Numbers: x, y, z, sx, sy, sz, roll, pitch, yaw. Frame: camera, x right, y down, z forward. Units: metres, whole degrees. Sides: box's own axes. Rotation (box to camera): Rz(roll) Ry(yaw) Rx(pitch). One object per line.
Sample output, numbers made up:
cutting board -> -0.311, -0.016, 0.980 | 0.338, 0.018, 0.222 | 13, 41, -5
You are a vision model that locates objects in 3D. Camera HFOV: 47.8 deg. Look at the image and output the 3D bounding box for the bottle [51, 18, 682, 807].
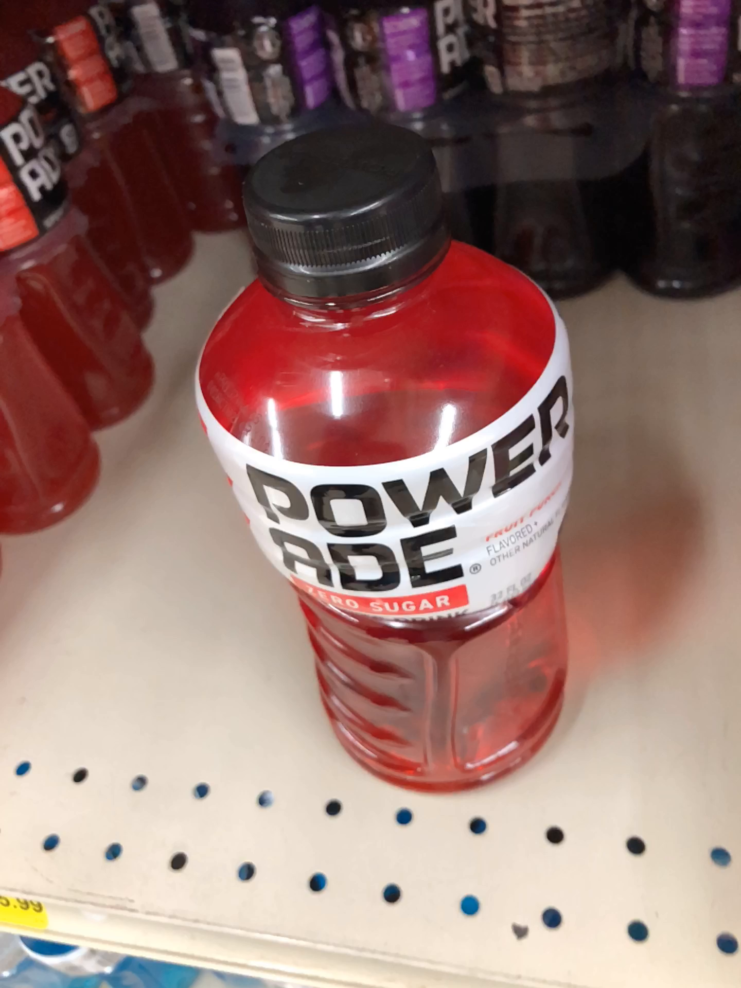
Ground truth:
bottle -> 0.013, -0.001, 0.226 | 0.095, 0.190, 0.095 | -6, 48, 7
